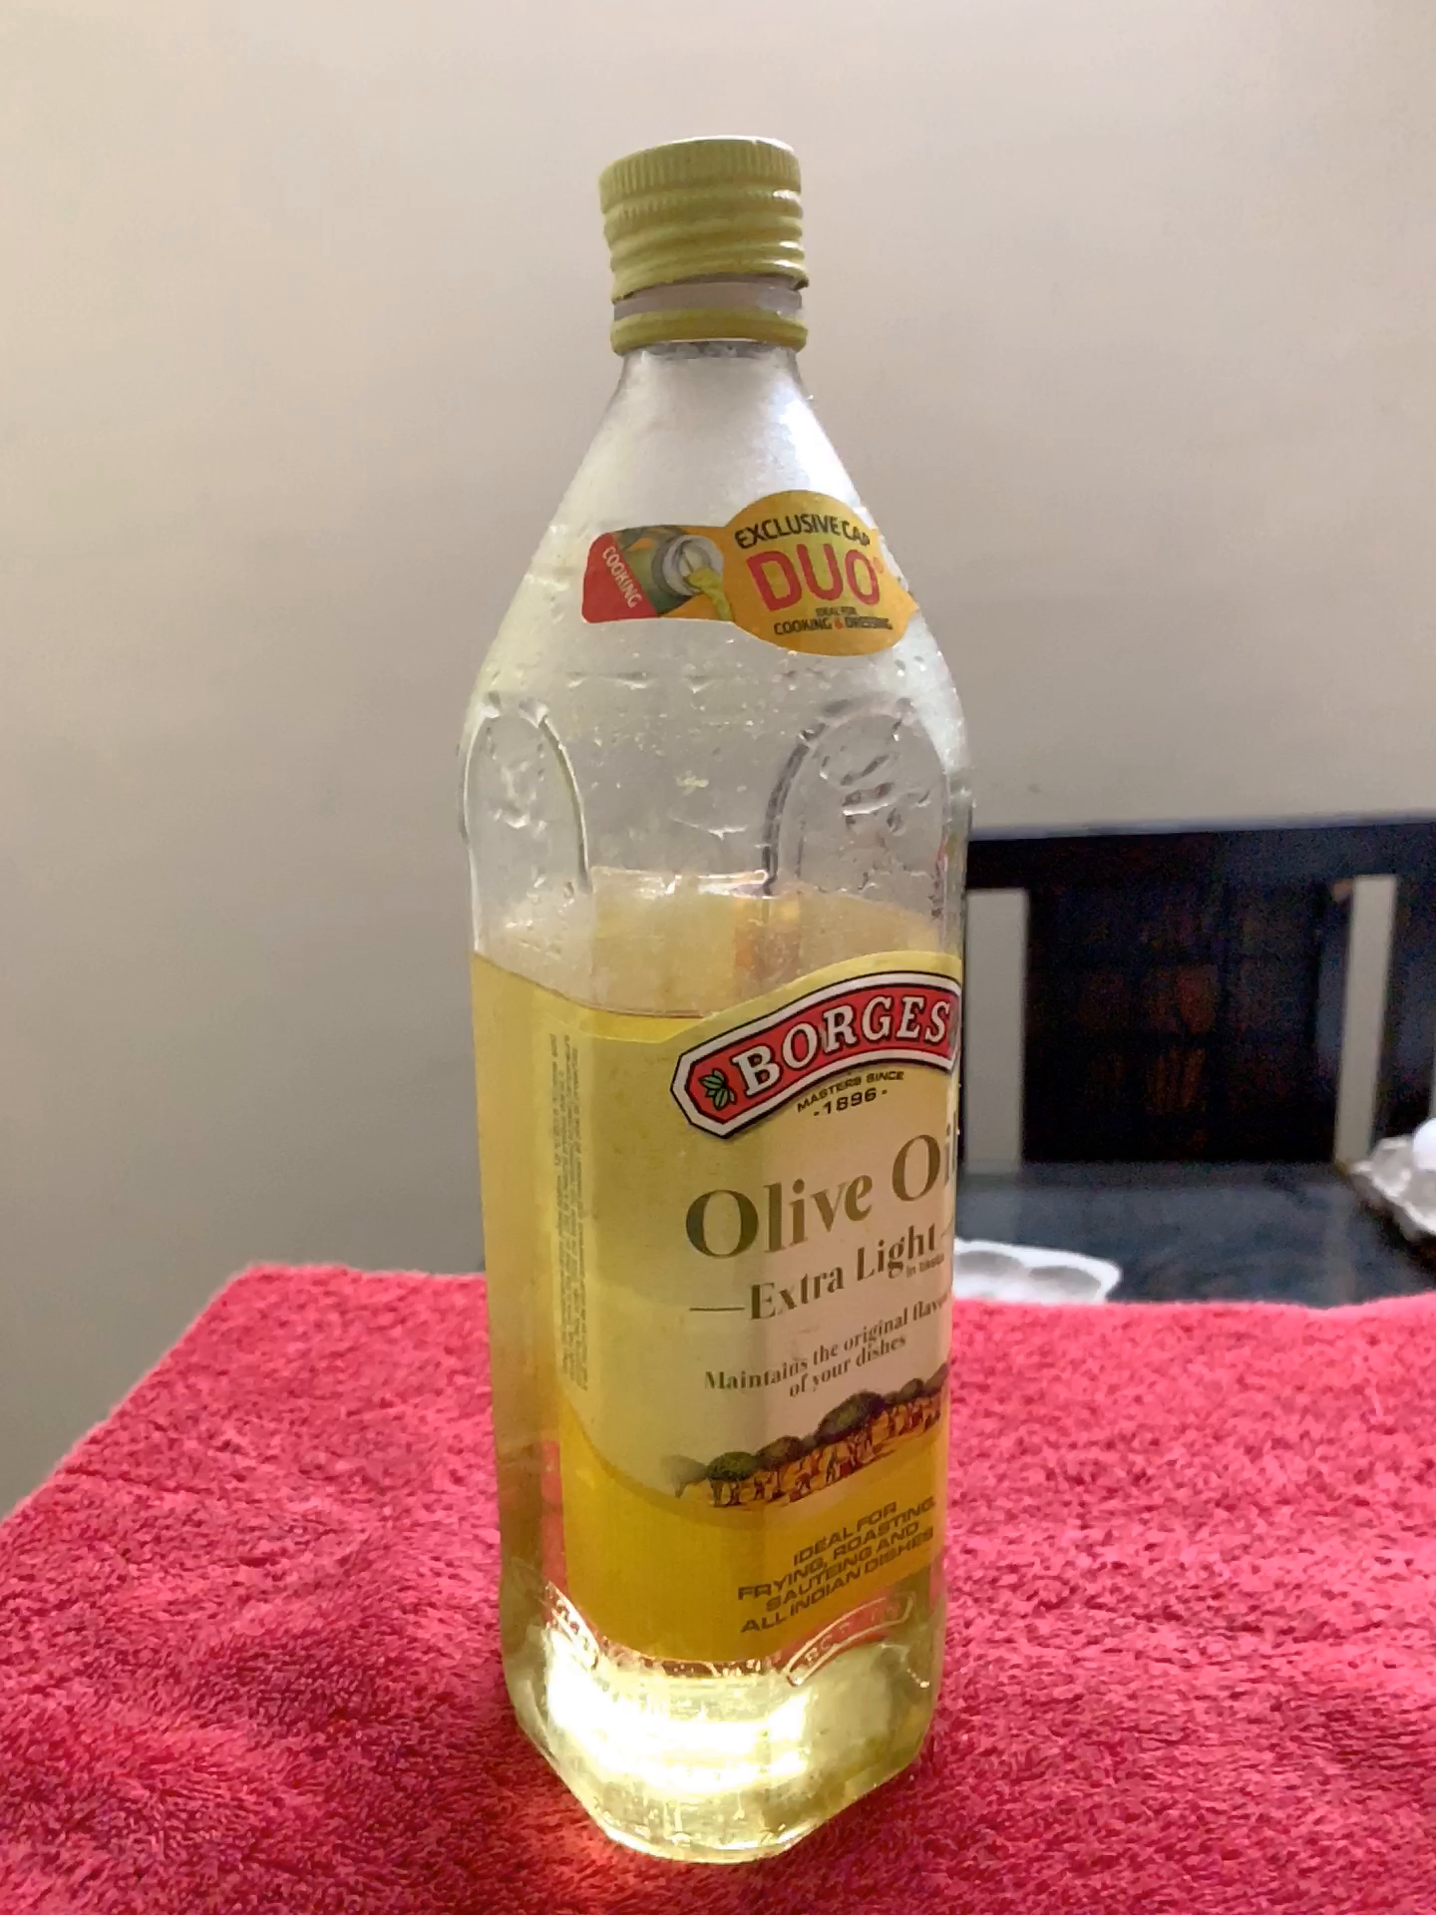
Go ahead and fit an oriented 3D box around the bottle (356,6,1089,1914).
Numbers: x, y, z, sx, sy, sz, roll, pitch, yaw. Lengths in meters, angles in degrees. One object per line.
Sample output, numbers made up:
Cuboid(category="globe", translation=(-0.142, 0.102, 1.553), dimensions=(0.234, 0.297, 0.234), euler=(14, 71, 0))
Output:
Cuboid(category="bottle", translation=(0.003, 0.009, 0.251), dimensions=(0.080, 0.269, 0.070), euler=(-12, 18, -33))
